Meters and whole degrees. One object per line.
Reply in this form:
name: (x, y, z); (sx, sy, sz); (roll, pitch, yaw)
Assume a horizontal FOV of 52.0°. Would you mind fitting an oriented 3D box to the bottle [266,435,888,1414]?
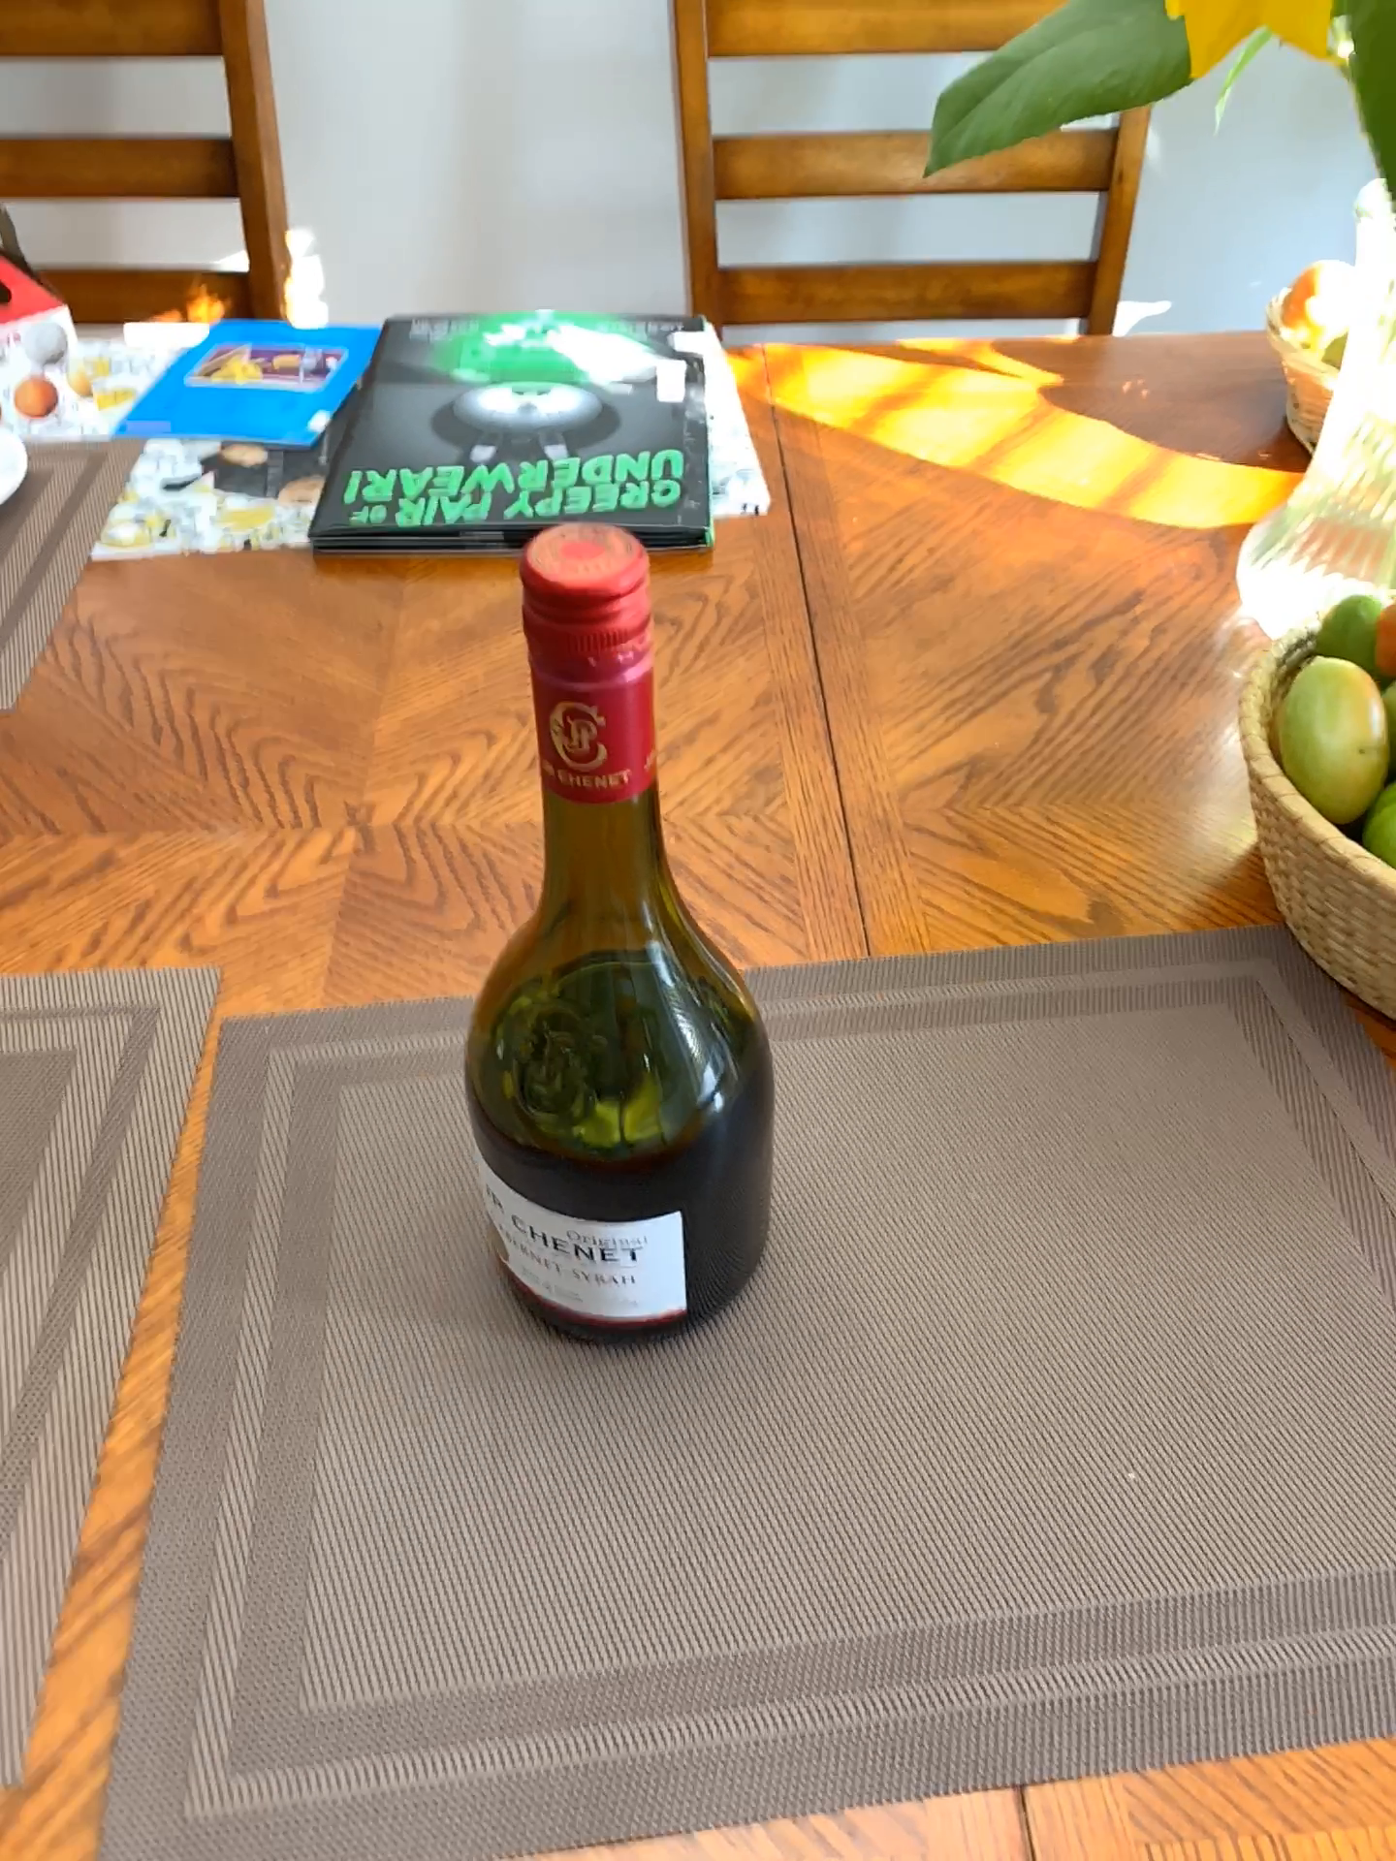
bottle: (-0.026, 0.012, 0.415); (0.100, 0.258, 0.101); (0, 44, 0)
